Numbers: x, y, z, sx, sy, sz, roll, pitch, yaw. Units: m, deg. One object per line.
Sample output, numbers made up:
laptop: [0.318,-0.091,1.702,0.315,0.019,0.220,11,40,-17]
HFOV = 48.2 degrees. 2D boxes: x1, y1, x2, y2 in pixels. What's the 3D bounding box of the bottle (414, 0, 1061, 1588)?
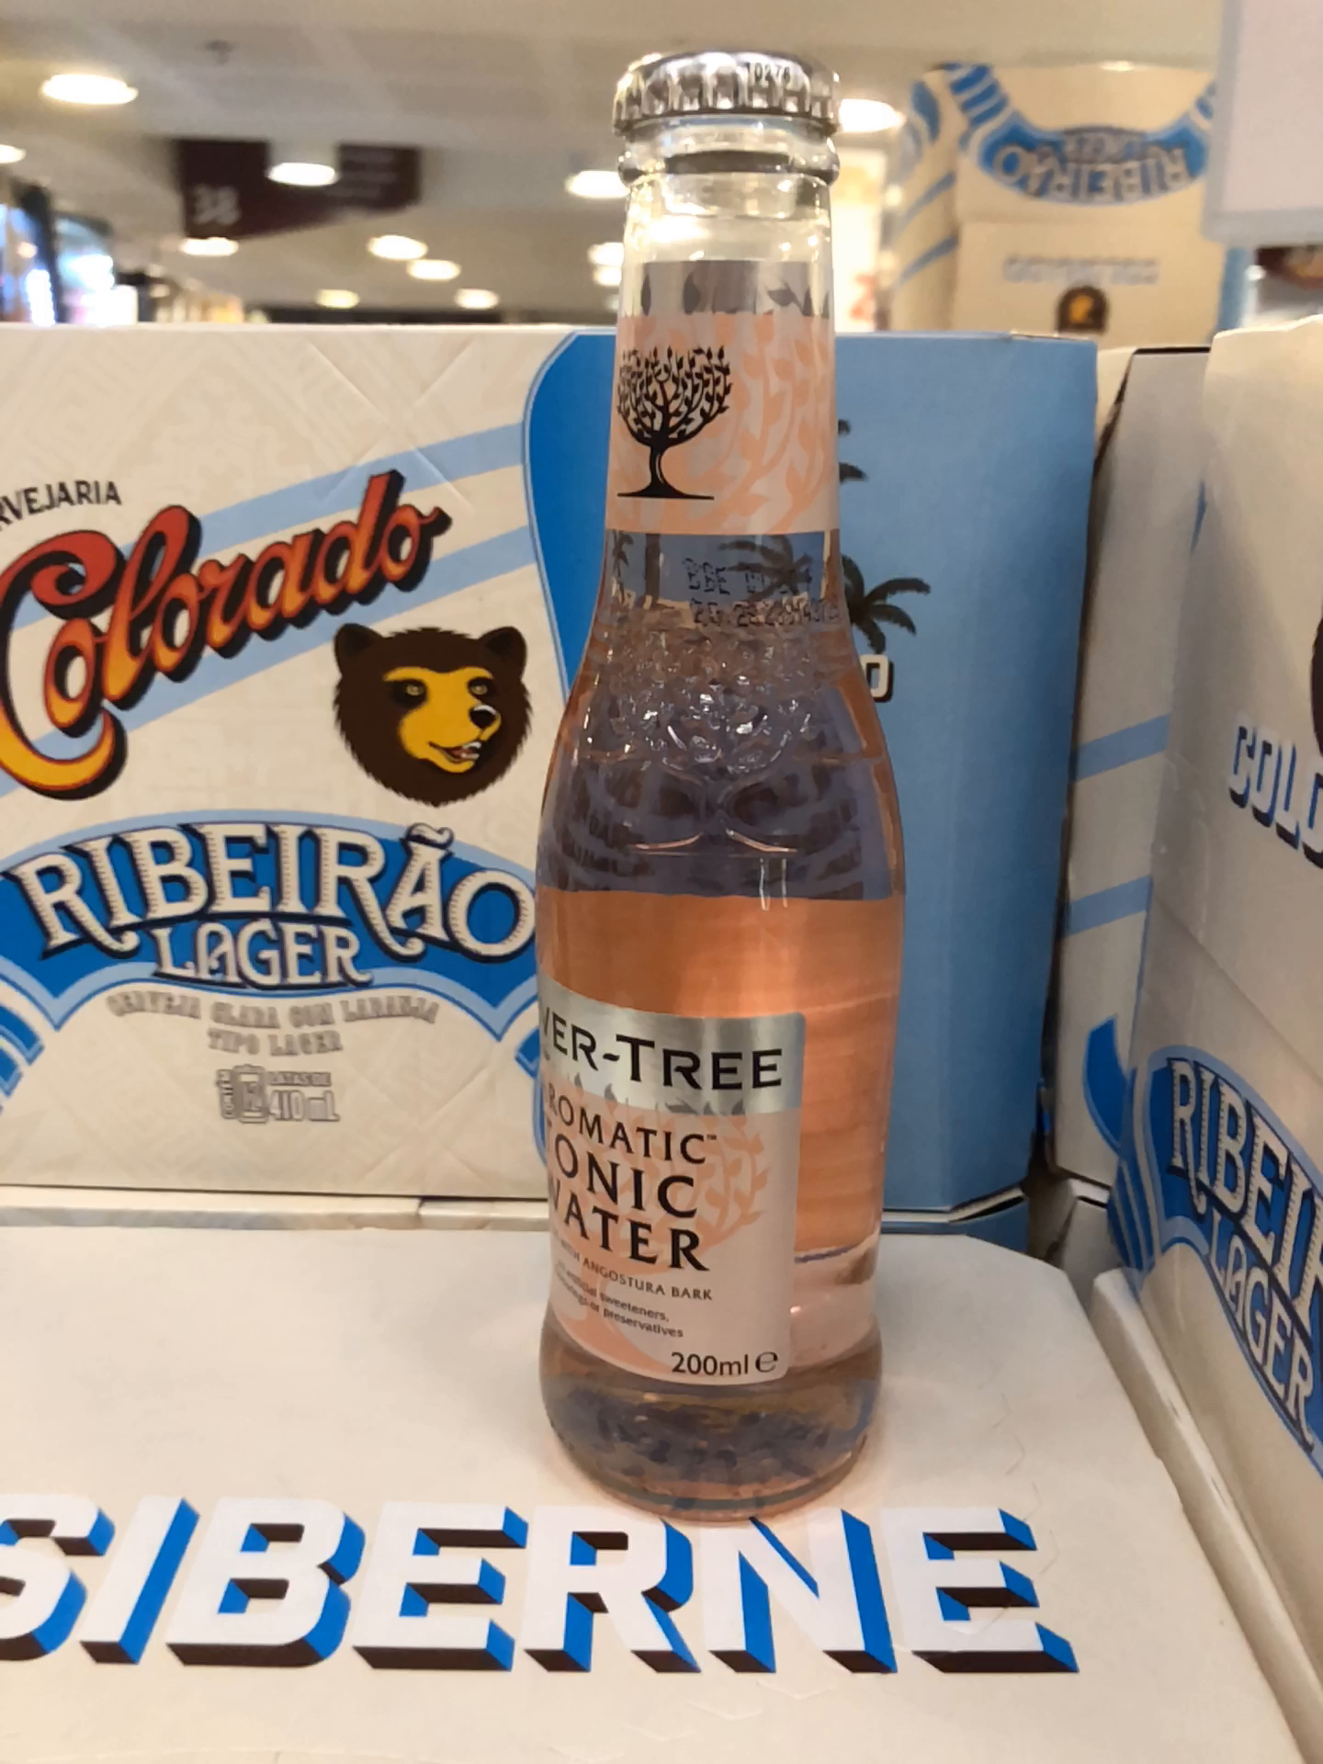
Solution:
bottle: [0.006,-0.010,0.204,0.060,0.189,0.050,15,21,40]
